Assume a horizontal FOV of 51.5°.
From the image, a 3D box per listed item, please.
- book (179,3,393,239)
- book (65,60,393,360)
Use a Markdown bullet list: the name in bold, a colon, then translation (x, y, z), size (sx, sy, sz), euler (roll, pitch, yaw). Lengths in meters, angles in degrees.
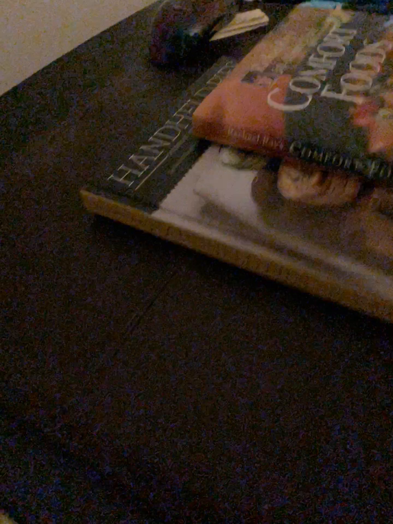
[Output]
- **book**: translation (0.129, -0.121, 0.281), size (0.211, 0.020, 0.201), euler (20, 55, 21)
- **book**: translation (0.062, -0.063, 0.258), size (0.221, 0.020, 0.181), euler (21, 55, 21)
